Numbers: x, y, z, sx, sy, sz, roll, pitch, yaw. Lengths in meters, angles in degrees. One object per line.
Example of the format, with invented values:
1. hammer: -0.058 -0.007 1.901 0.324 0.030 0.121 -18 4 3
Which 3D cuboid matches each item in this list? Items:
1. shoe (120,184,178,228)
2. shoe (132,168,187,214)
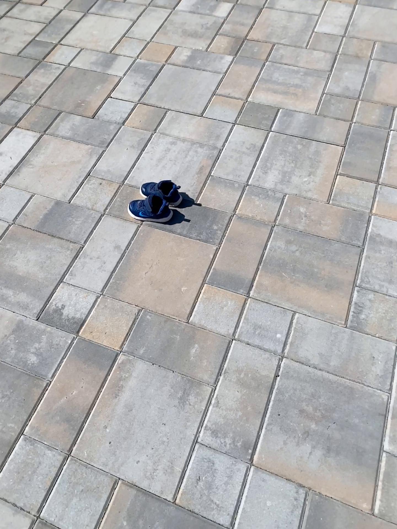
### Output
1. shoe: -0.172 -0.207 1.428 0.170 0.090 0.090 12 60 10
2. shoe: -0.140 -0.270 1.492 0.170 0.090 0.090 18 61 14
